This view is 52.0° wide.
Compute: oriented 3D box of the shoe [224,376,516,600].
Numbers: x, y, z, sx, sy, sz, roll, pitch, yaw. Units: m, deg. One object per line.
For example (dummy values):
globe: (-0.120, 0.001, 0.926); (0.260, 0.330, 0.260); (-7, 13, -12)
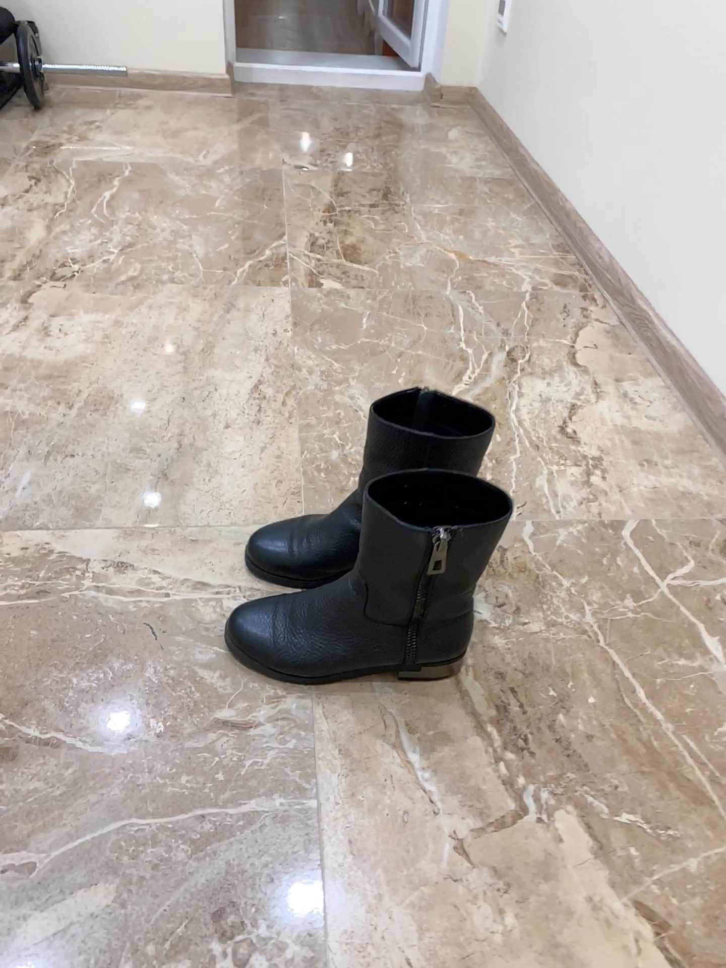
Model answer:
shoe: (0.000, 0.010, 0.764); (0.260, 0.209, 0.090); (3, 41, -3)

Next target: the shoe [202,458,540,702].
shoe: (0.000, 0.094, 0.675); (0.260, 0.209, 0.090); (3, 41, -2)
